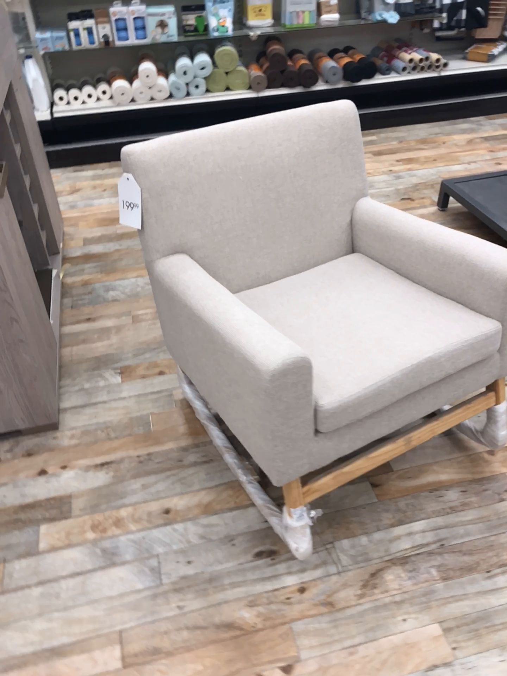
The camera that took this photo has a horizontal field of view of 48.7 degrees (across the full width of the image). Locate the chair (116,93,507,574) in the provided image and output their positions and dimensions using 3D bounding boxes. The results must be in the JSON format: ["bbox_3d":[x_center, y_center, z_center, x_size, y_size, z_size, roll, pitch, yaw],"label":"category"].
[{"bbox_3d":[0.180,-0.079,1.365,0.700,0.707,0.743,-20,42,-21],"label":"chair"}]
